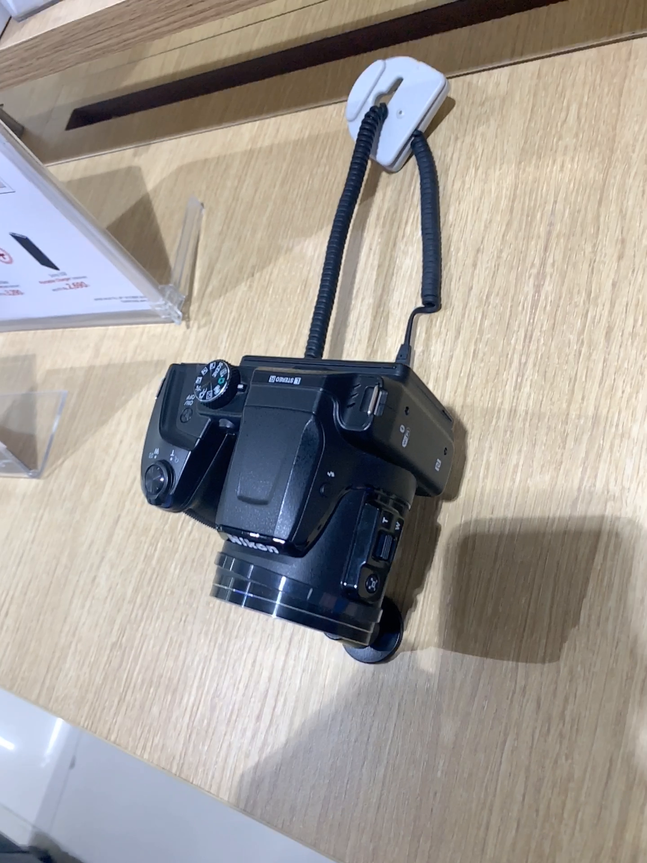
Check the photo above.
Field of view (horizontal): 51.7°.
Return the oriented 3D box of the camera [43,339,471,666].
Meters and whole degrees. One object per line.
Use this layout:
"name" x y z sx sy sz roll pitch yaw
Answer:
"camera" -0.023 0.024 0.257 0.121 0.080 0.090 6 73 34
